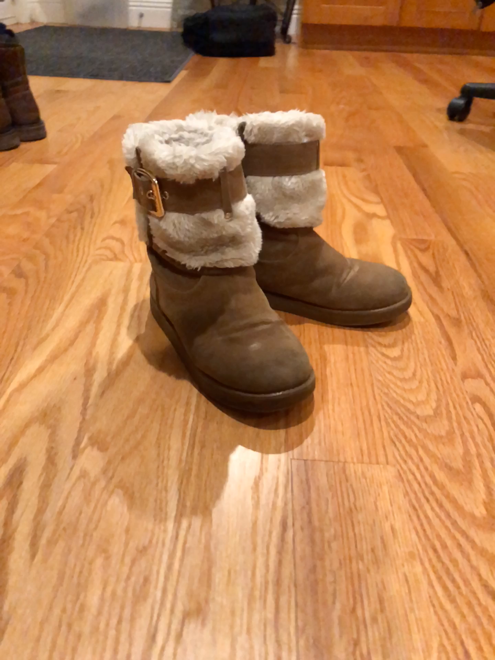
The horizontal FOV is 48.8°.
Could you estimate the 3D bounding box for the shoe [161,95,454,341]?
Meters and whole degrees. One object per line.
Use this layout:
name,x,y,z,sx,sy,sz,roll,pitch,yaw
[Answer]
shoe,0.056,-0.121,0.566,0.254,0.193,0.113,10,33,12

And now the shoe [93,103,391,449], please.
shoe,-0.024,-0.066,0.472,0.106,0.193,0.255,-19,38,-29
